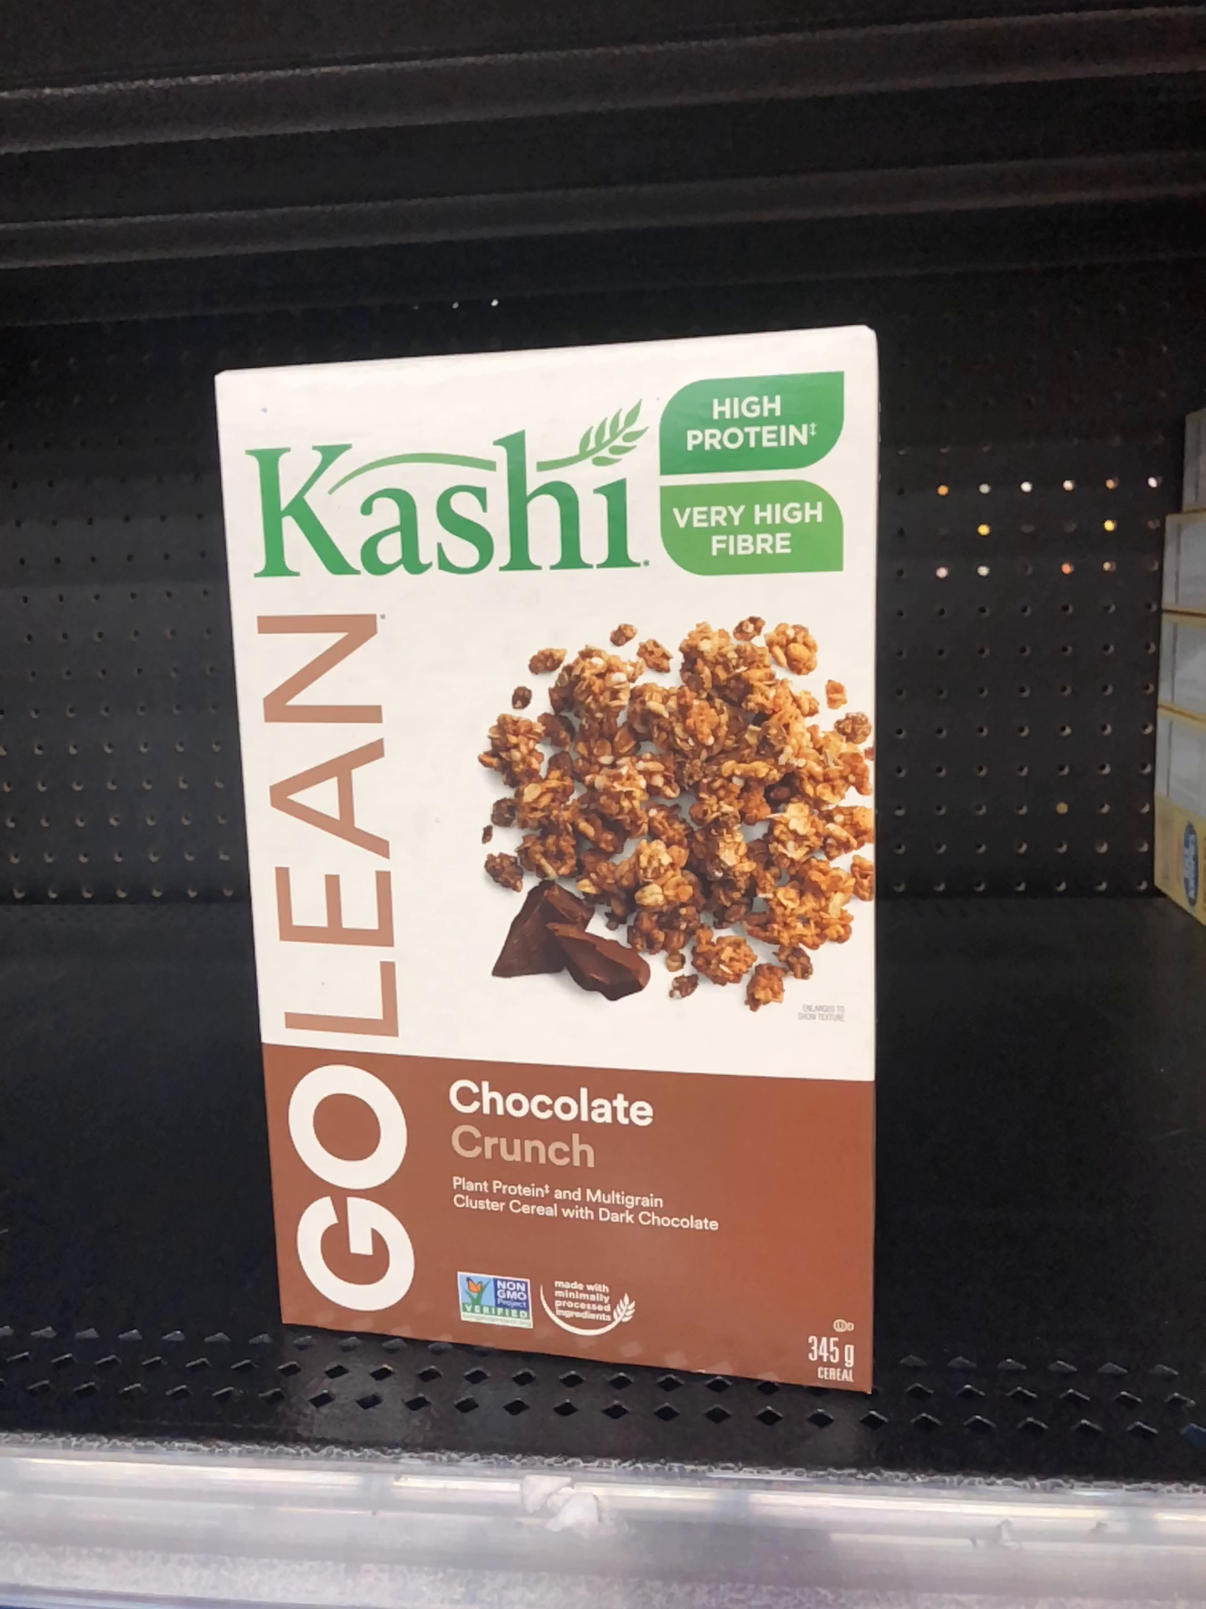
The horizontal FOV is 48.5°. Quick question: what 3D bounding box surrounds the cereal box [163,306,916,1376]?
[{"bbox_3d":[-0.011,0.011,0.352,0.180,0.250,0.050,0,9,13],"label":"cereal box"}]
